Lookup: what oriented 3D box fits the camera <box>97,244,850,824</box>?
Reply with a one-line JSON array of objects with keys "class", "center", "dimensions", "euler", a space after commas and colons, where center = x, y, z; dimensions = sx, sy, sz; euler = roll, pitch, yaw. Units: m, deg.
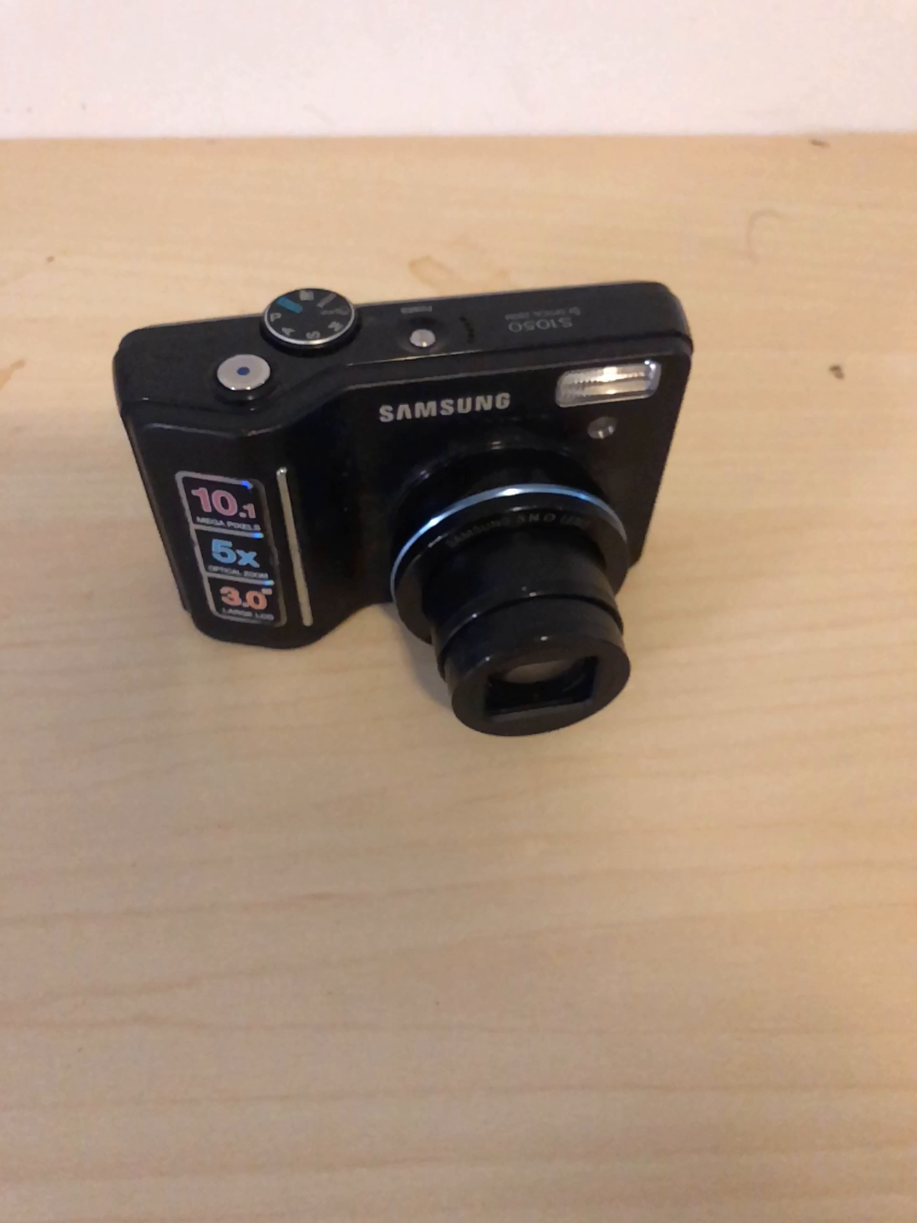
[{"class": "camera", "center": [-0.002, -0.014, 0.197], "dimensions": [0.110, 0.070, 0.070], "euler": [-7, 56, -6]}]
